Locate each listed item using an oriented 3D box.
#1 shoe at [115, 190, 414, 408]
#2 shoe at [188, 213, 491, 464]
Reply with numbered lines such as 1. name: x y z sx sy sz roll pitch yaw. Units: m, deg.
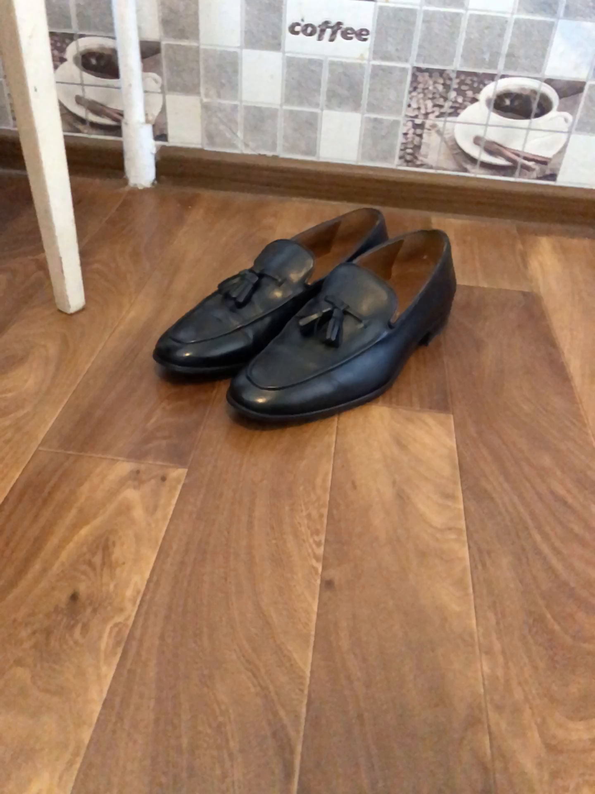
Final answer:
1. shoe: -0.016 -0.097 0.556 0.100 0.068 0.254 29 45 29
2. shoe: 0.044 -0.062 0.514 0.100 0.068 0.254 28 44 28
